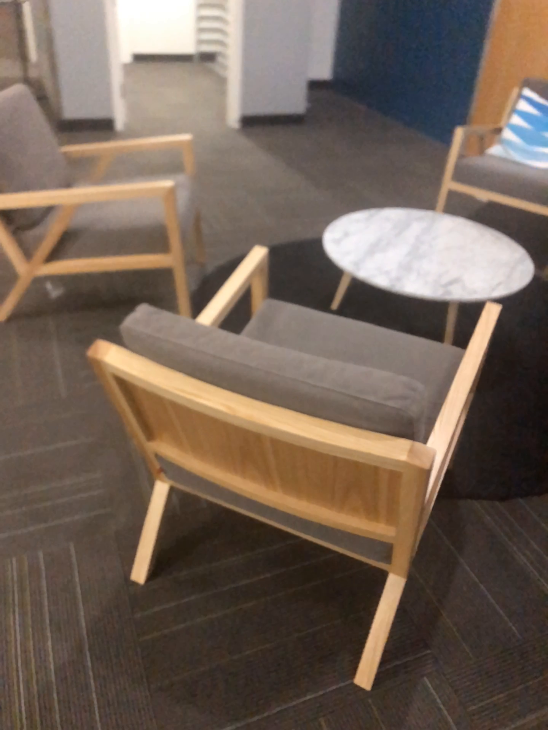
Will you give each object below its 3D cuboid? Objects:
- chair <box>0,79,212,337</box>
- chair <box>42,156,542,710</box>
[{"bbox_3d":[-0.690,-0.639,2.413,0.800,0.773,0.726,-1,35,-1],"label":"chair"},{"bbox_3d":[0.111,0.082,1.464,0.720,0.753,0.878,17,42,18],"label":"chair"}]
